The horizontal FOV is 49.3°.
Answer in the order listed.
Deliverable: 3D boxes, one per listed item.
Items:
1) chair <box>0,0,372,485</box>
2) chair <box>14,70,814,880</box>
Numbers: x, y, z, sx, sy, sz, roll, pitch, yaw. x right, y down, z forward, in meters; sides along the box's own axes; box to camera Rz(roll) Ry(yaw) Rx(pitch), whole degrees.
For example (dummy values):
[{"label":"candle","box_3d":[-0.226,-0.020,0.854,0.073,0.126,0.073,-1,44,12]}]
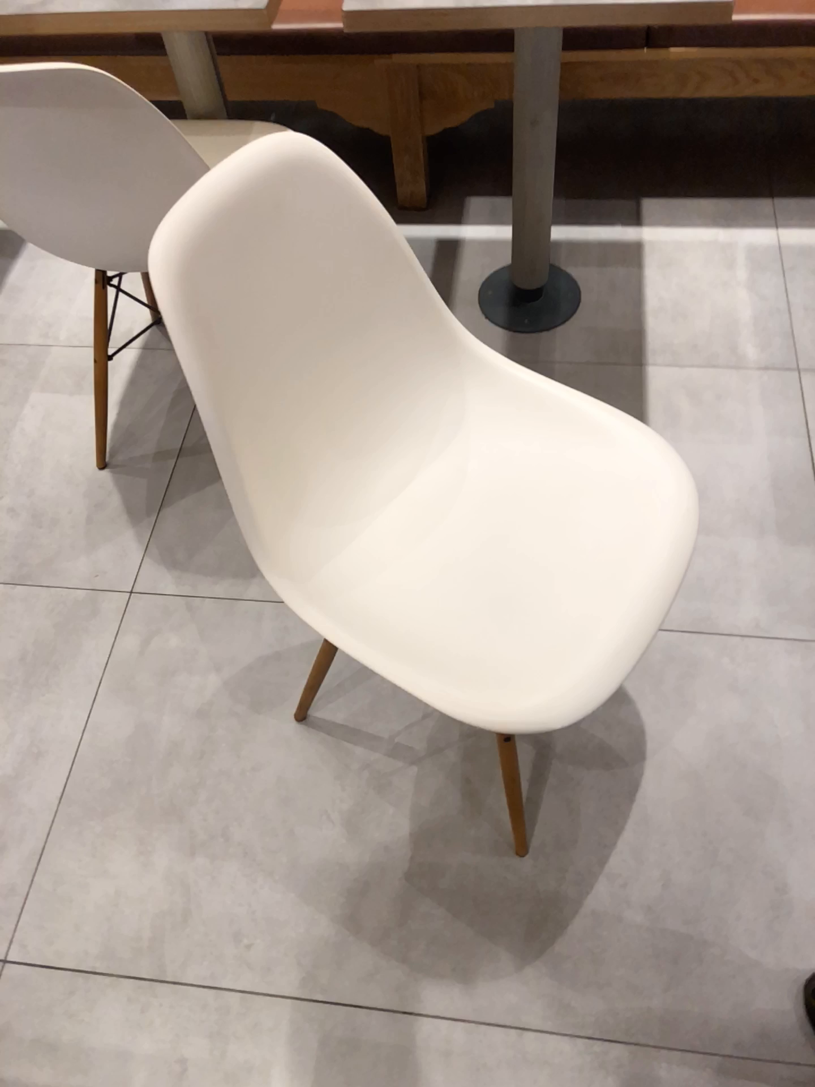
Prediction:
[{"label":"chair","box_3d":[-0.418,-0.551,1.511,0.561,0.769,0.514,3,57,8]},{"label":"chair","box_3d":[0.040,-0.030,1.117,0.553,0.779,0.472,26,62,21]}]
